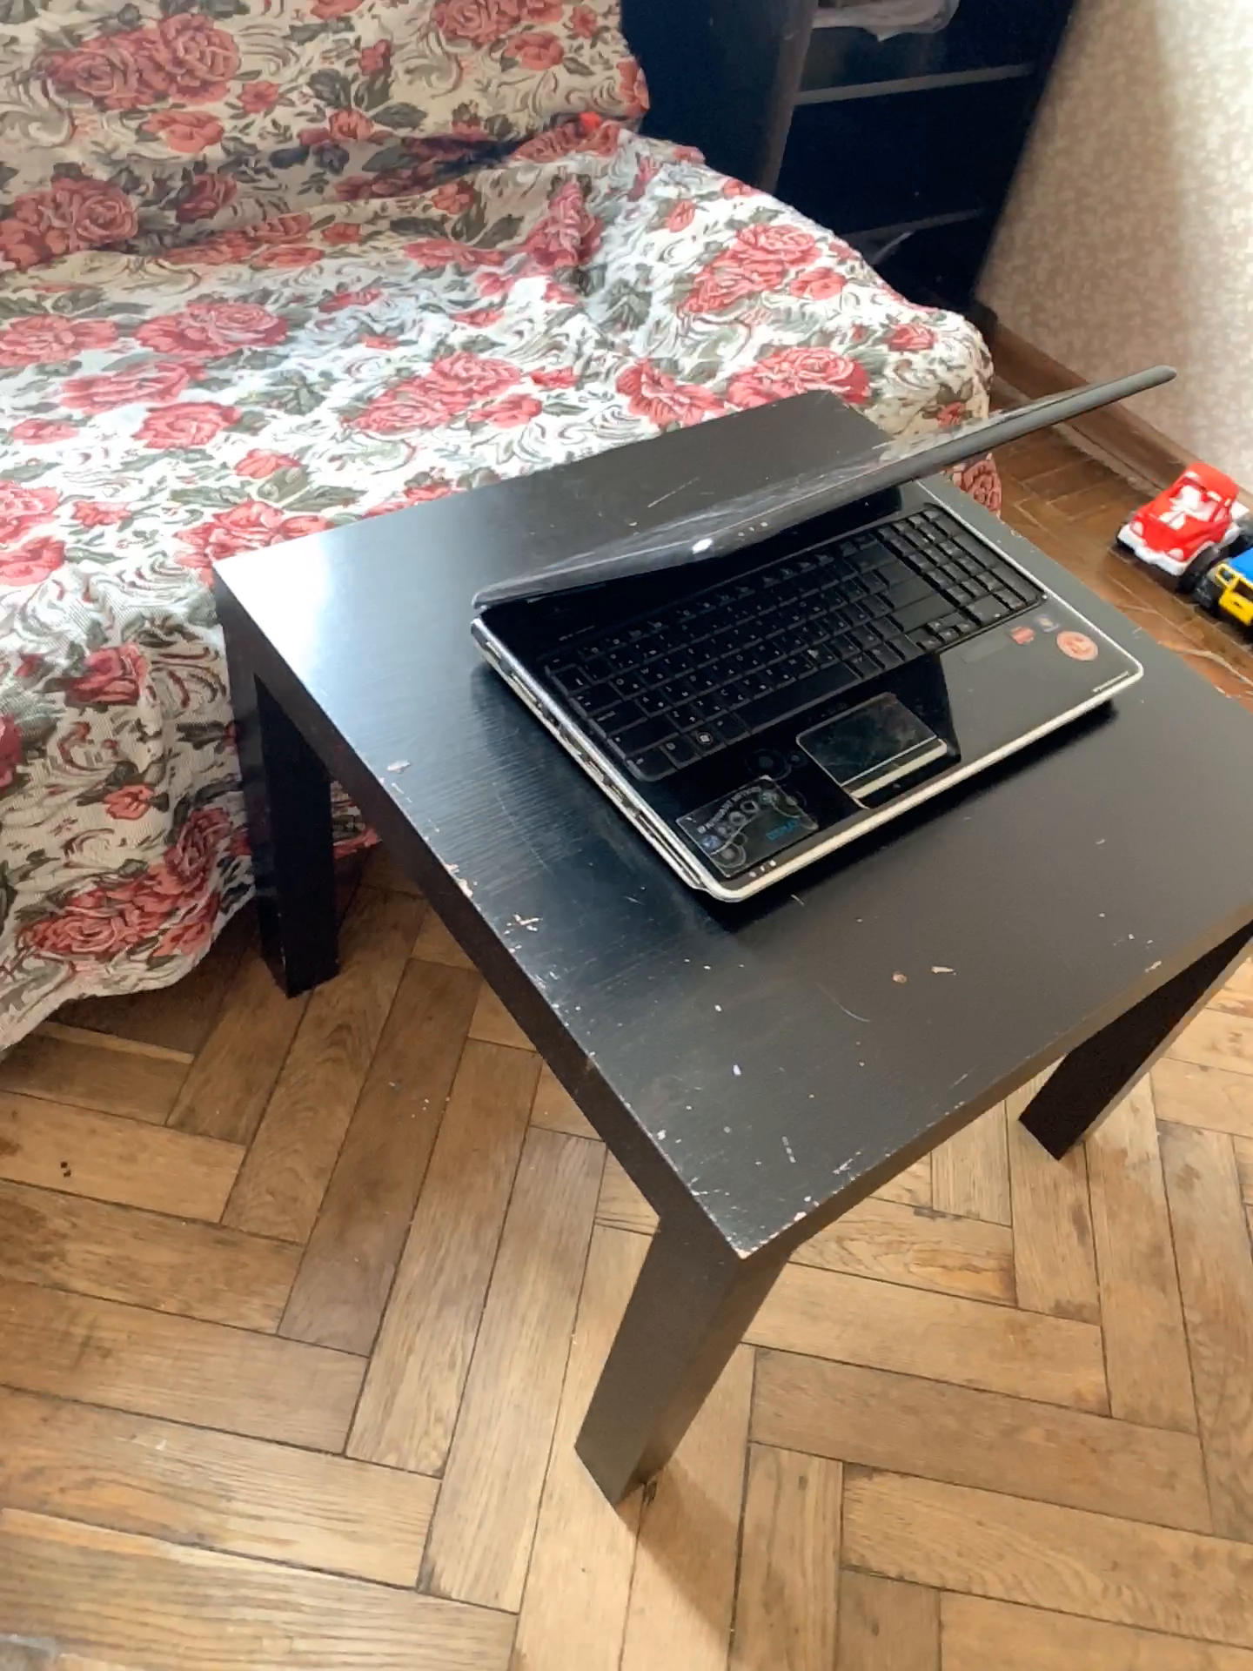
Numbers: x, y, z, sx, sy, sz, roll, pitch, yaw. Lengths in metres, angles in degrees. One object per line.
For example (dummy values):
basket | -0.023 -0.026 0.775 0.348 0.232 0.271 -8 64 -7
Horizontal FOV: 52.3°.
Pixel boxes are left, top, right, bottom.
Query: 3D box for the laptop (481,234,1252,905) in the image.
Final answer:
laptop | 0.140 -0.178 0.756 0.366 0.177 0.252 -26 59 -29
